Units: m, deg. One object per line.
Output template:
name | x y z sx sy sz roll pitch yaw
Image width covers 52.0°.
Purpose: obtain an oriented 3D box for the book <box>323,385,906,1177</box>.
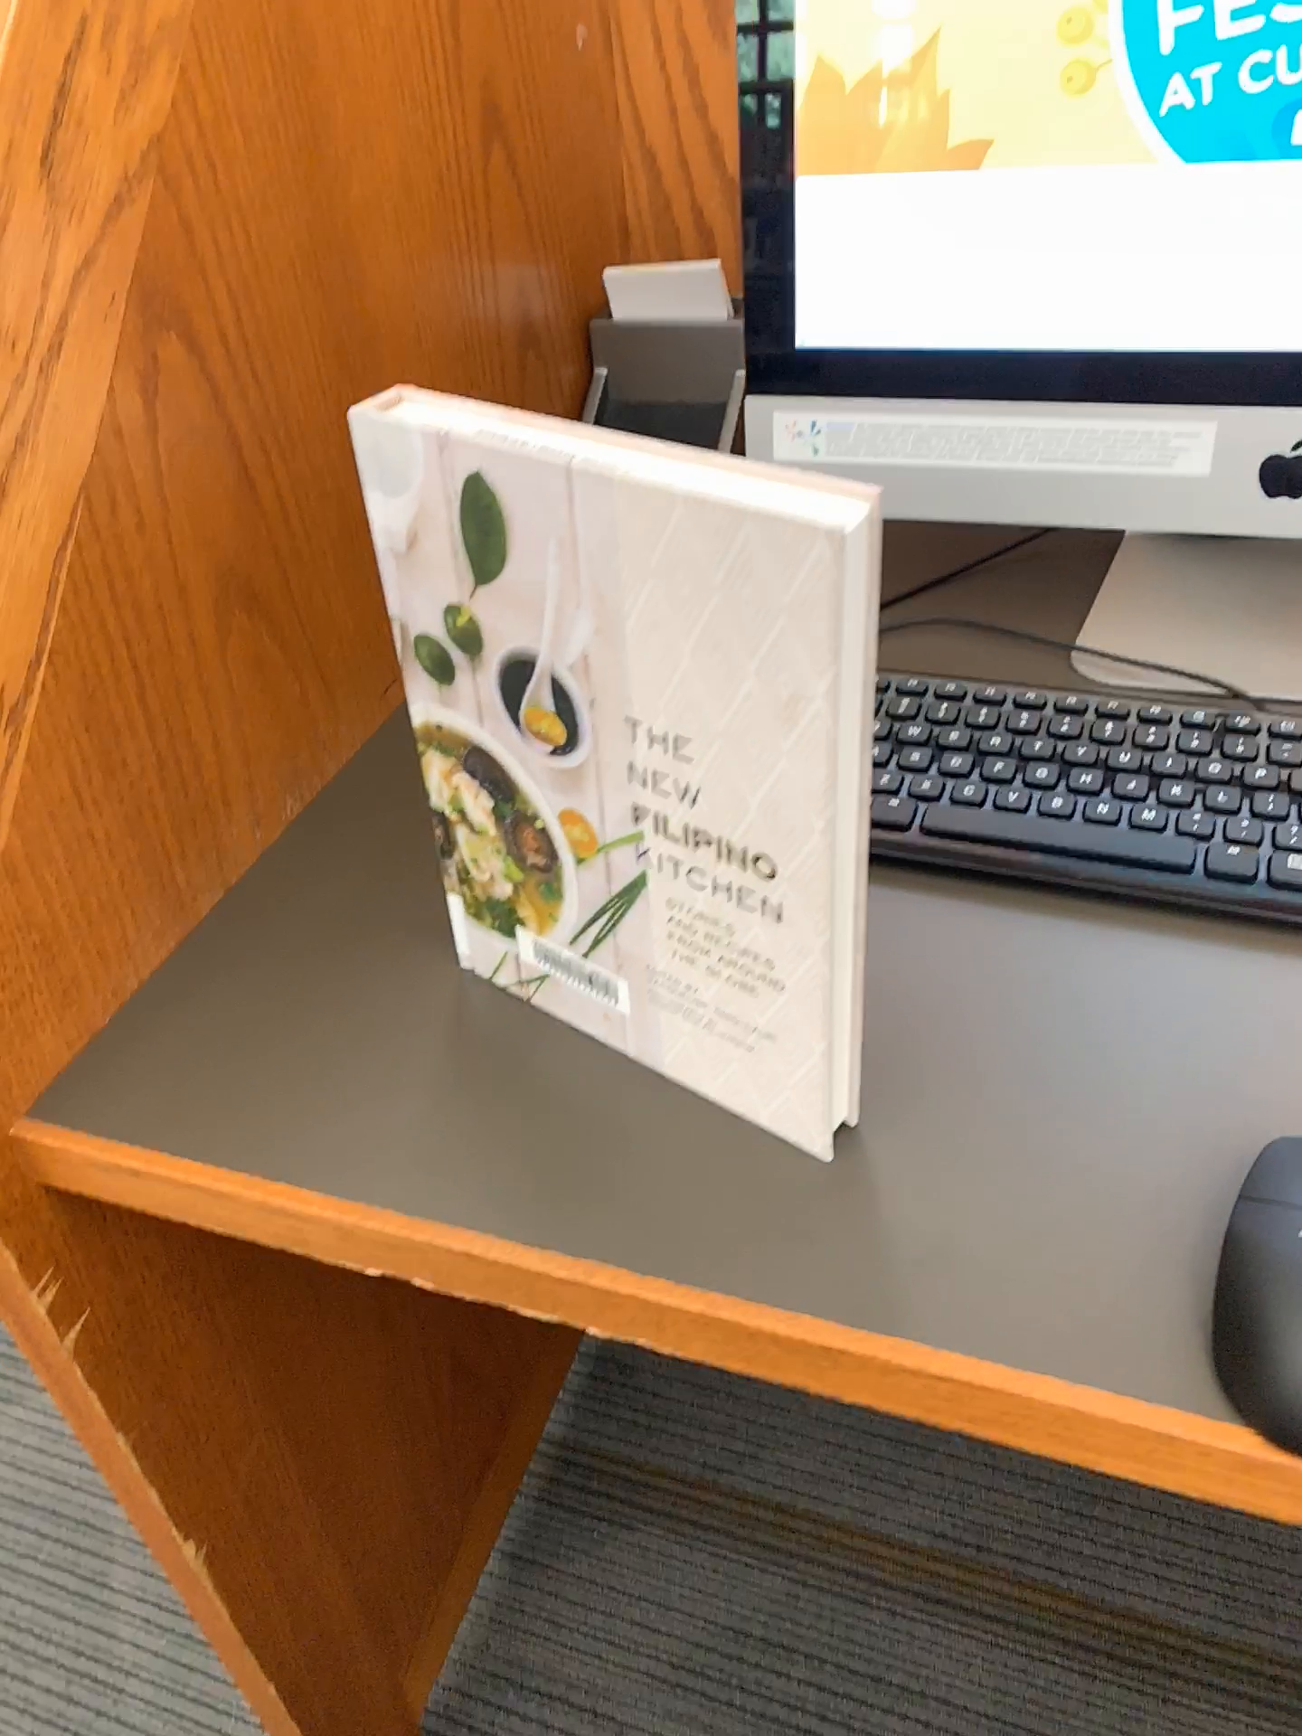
book | -0.011 -0.027 0.444 0.193 0.229 0.030 24 45 33
